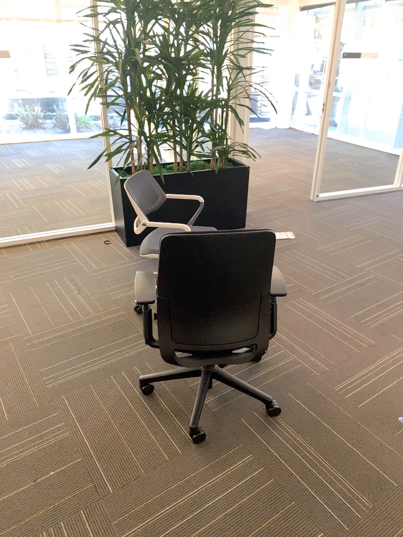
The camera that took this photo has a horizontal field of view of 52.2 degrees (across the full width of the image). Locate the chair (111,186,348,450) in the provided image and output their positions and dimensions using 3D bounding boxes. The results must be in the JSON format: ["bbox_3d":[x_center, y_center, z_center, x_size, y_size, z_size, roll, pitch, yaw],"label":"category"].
[{"bbox_3d":[0.067,0.174,1.858,0.770,0.885,0.745,-2,27,-4],"label":"chair"}]

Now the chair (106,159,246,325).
[{"bbox_3d":[-0.114,-0.219,2.715,0.740,0.795,0.845,2,27,3],"label":"chair"}]
